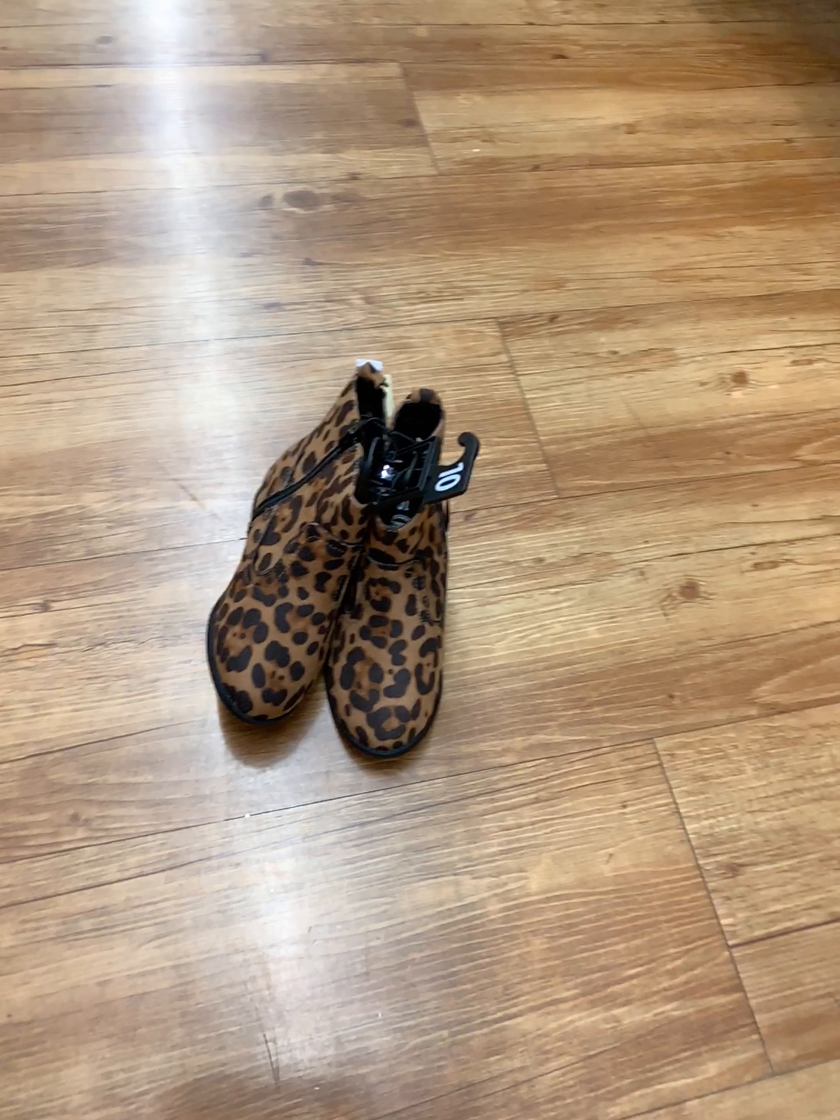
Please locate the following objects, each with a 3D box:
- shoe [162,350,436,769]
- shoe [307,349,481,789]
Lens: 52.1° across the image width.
[{"bbox_3d":[-0.062,0.003,0.460,0.070,0.120,0.181,24,54,-27],"label":"shoe"},{"bbox_3d":[-0.016,0.006,0.445,0.070,0.120,0.191,3,59,-5],"label":"shoe"}]
